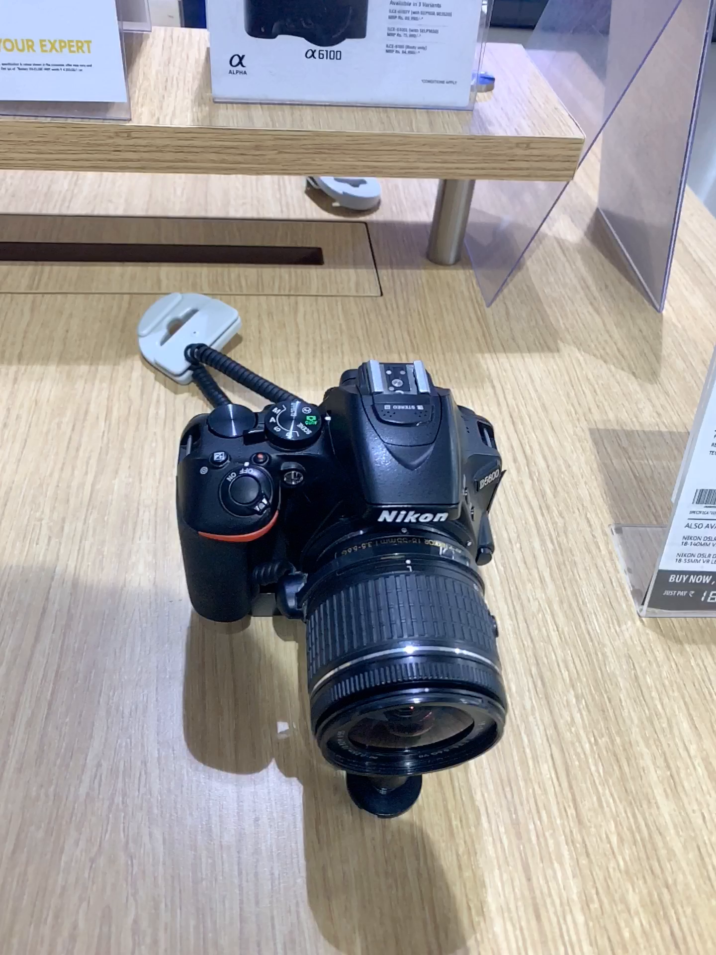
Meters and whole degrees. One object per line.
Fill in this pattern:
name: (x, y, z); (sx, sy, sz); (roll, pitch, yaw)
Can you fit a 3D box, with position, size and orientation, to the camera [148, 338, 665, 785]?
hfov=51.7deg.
camera: (0.004, 0.023, 0.240); (0.124, 0.080, 0.114); (0, 47, -8)
